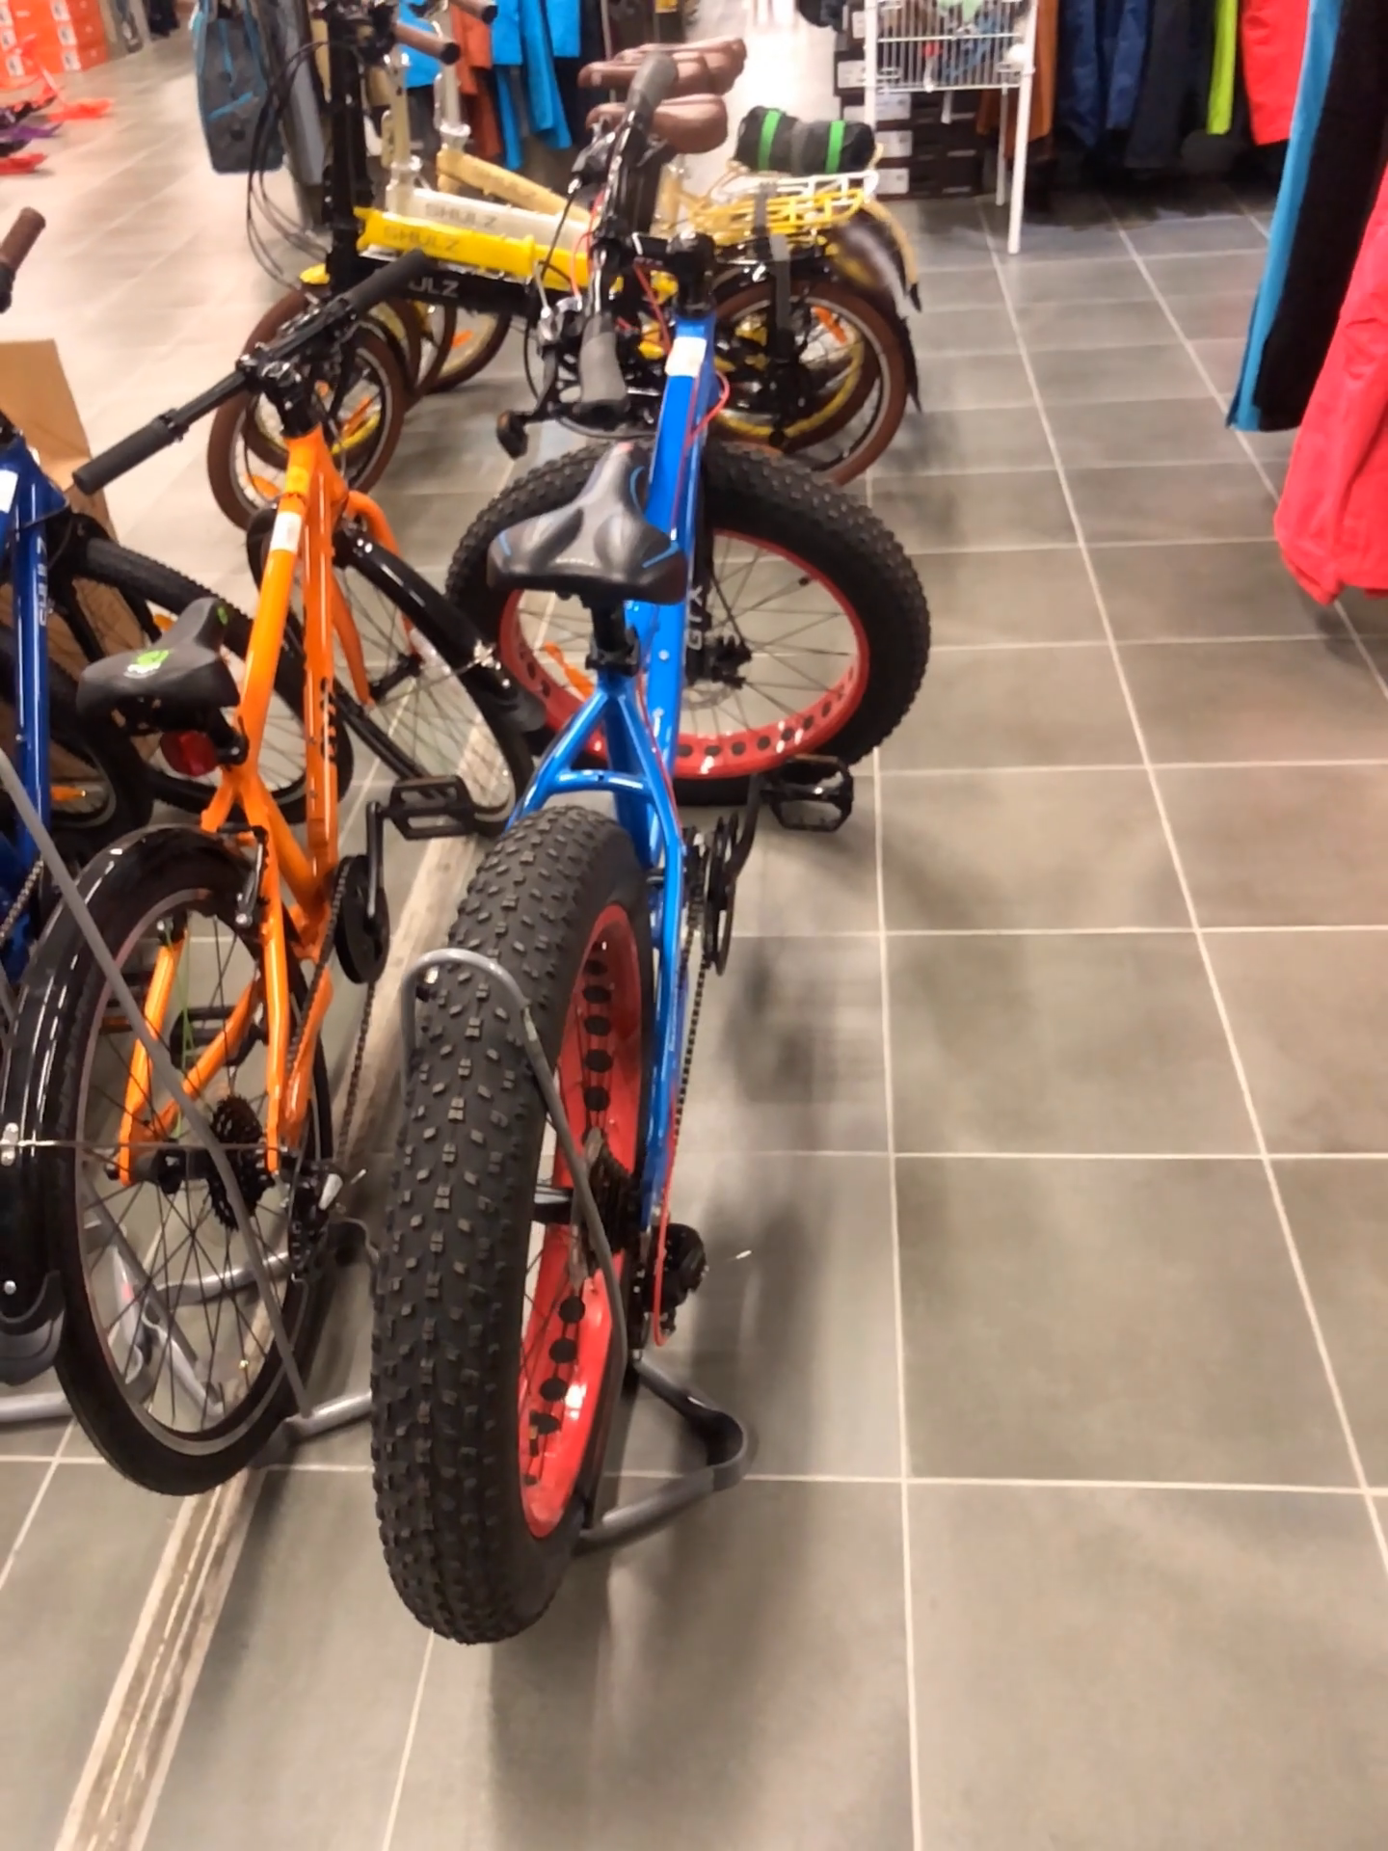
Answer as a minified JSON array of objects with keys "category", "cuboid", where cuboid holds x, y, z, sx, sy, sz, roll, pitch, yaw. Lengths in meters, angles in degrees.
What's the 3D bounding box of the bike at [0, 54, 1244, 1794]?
[{"category":"bike","cuboid":[-0.006,-0.162,1.508,0.614,1.023,1.475,-1,36,5]}]
